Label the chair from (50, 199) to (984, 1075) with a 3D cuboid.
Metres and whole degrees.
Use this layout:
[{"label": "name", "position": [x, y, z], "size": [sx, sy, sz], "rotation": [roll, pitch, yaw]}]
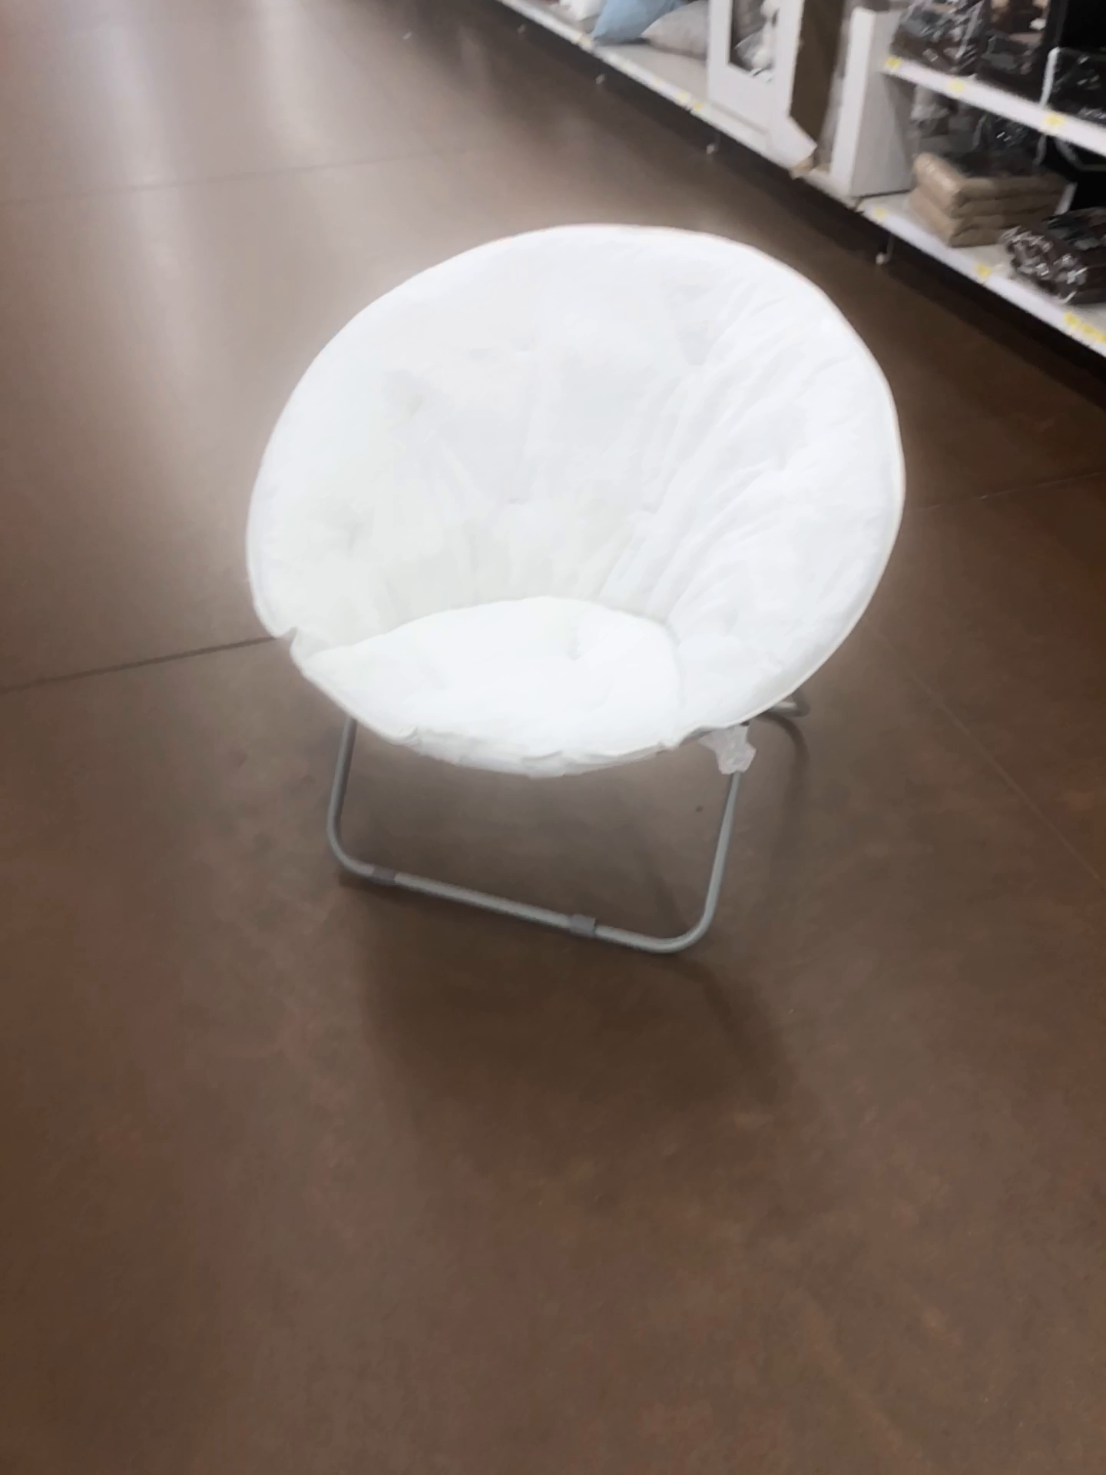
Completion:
[{"label": "chair", "position": [0.037, -0.189, 1.482], "size": [0.761, 0.647, 0.752], "rotation": [11, 41, 18]}]
